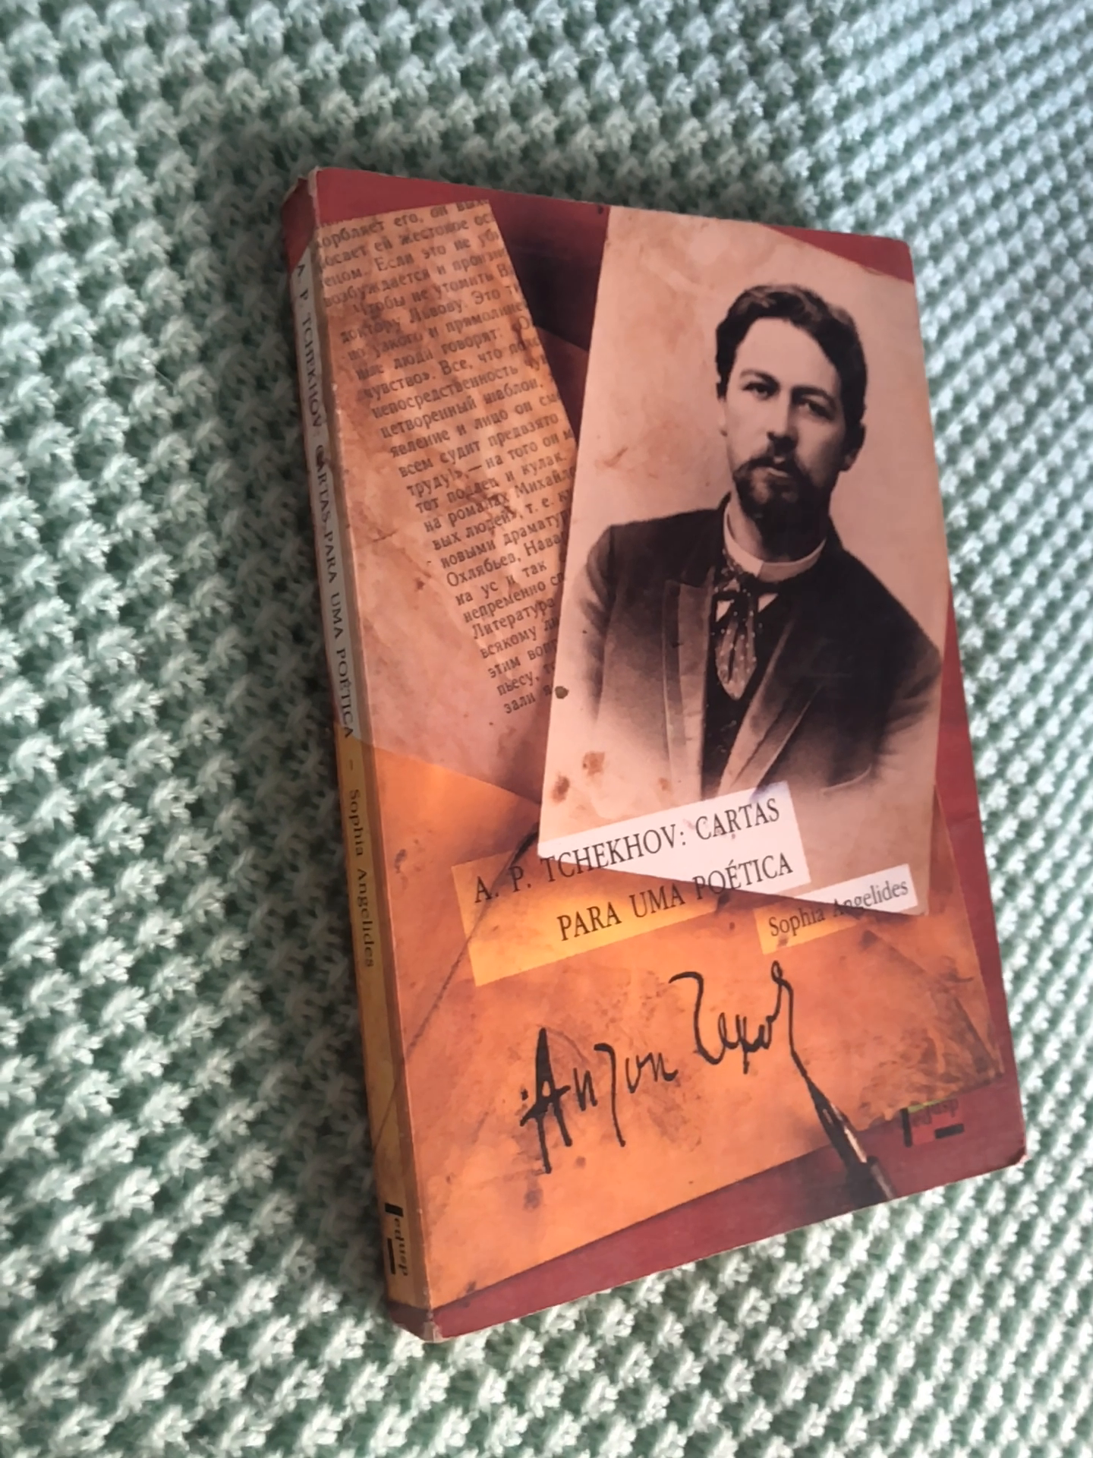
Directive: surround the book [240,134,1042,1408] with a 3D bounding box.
[{"bbox_3d":[0.026,0.000,0.252,0.151,0.030,0.210,-5,86,-31],"label":"book"}]
